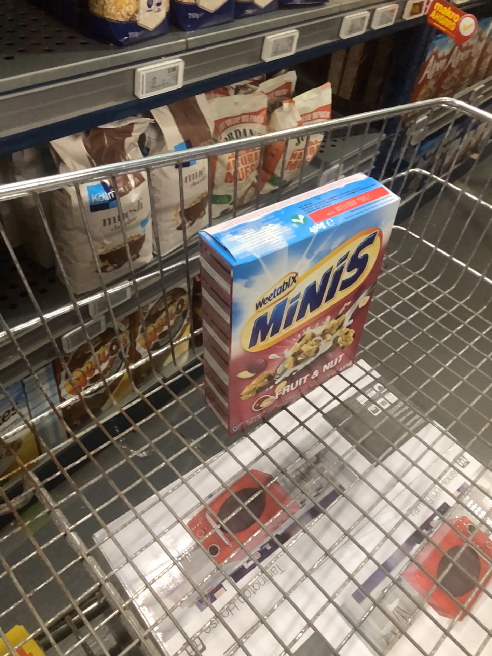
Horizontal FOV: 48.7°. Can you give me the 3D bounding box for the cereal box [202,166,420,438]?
[{"bbox_3d":[0.063,-0.025,0.635,0.221,0.259,0.080,-26,54,-27],"label":"cereal box"}]
